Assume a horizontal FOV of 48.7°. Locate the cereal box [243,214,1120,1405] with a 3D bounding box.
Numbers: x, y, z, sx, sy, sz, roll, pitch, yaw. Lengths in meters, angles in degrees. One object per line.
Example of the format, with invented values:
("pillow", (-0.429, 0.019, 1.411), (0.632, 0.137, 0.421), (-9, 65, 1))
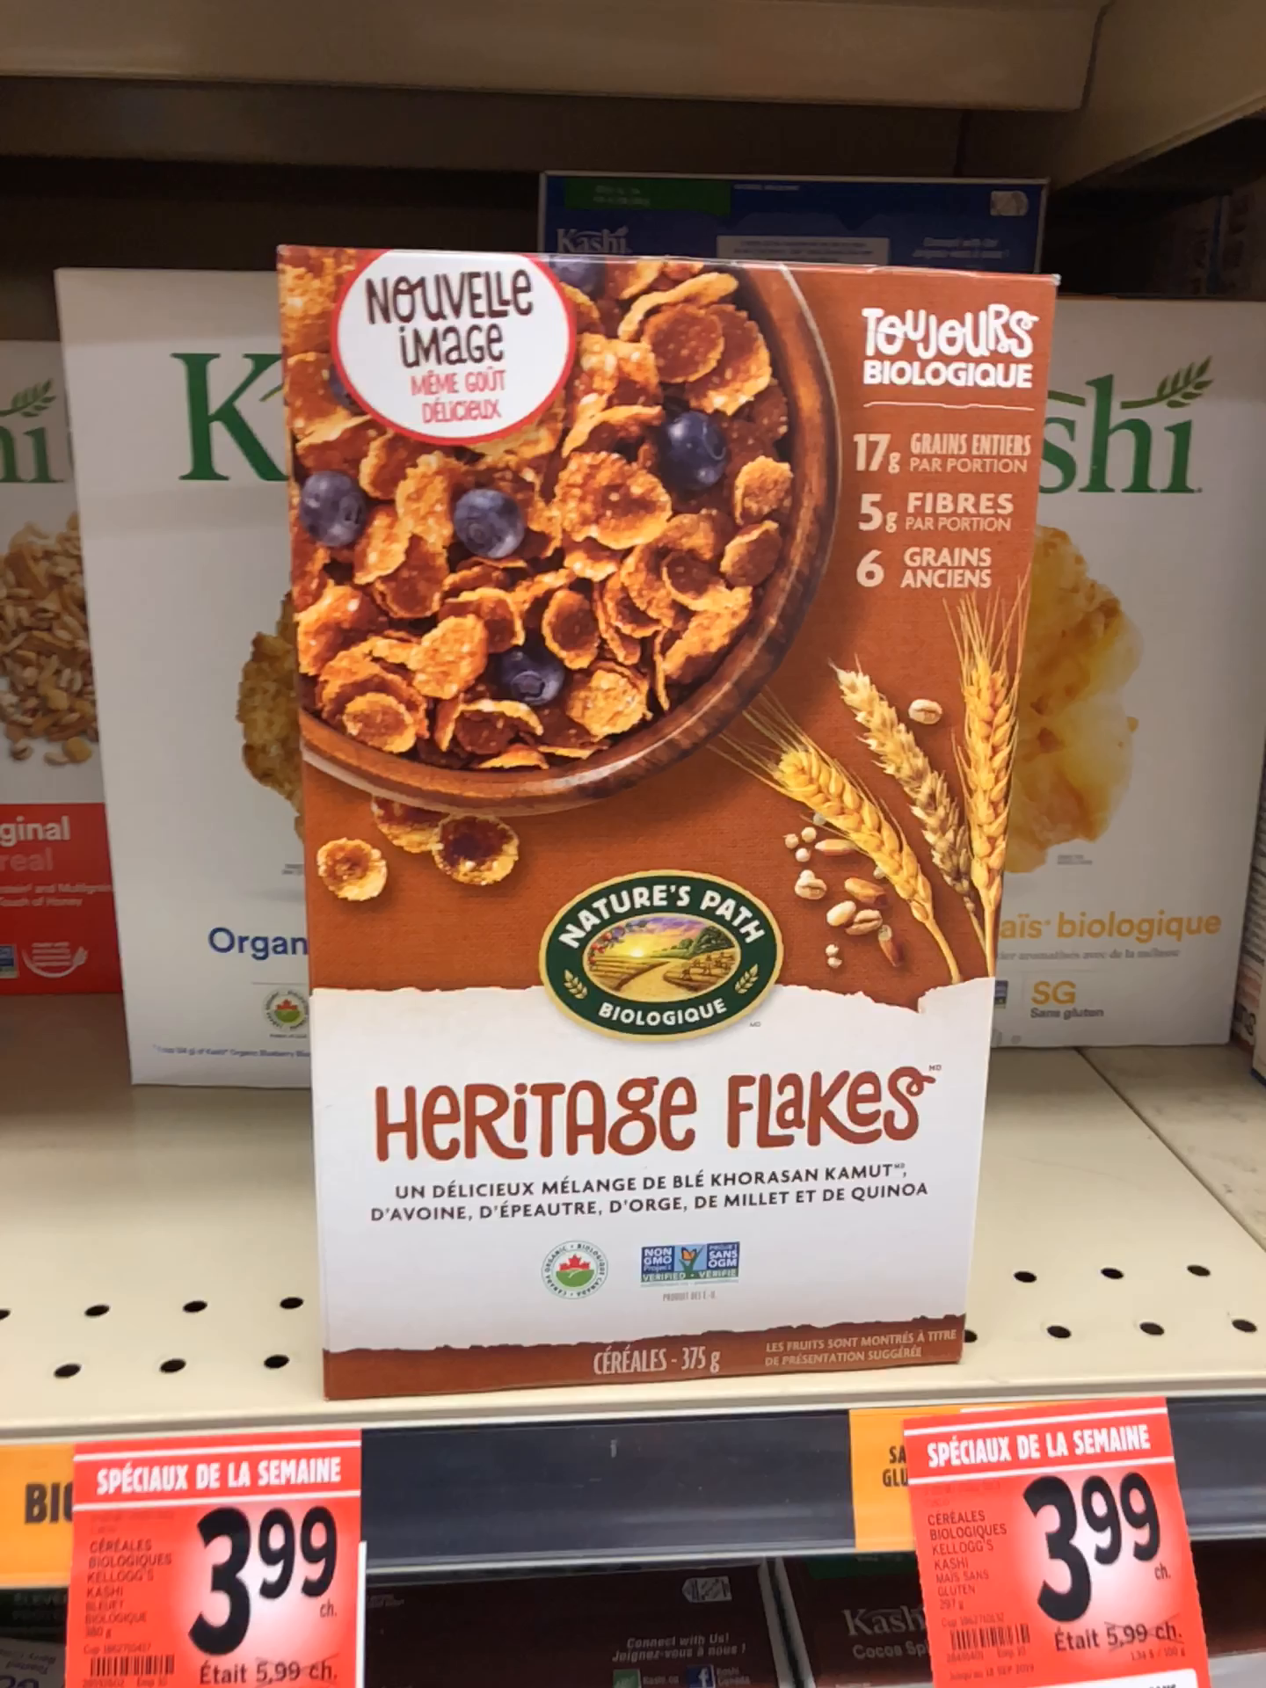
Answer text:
("cereal box", (0.007, -0.004, 0.337), (0.170, 0.259, 0.070), (-1, 16, -6))
